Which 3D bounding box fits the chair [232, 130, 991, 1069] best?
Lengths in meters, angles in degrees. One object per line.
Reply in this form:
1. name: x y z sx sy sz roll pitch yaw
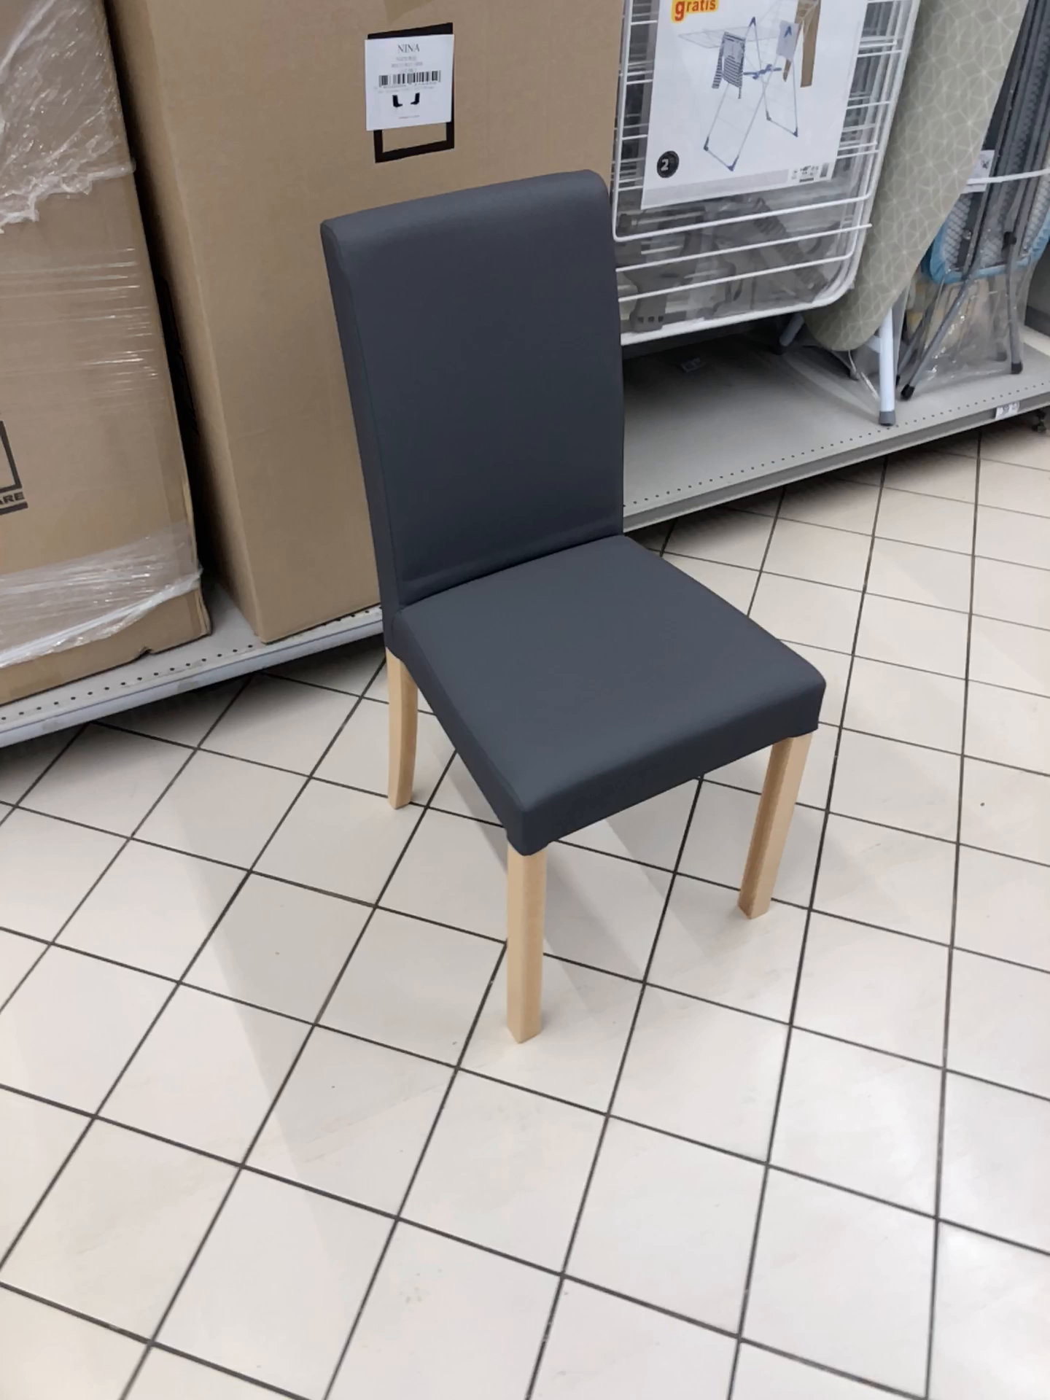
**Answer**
1. chair: 0.047 -0.114 1.352 0.472 0.825 0.571 -22 48 -23
